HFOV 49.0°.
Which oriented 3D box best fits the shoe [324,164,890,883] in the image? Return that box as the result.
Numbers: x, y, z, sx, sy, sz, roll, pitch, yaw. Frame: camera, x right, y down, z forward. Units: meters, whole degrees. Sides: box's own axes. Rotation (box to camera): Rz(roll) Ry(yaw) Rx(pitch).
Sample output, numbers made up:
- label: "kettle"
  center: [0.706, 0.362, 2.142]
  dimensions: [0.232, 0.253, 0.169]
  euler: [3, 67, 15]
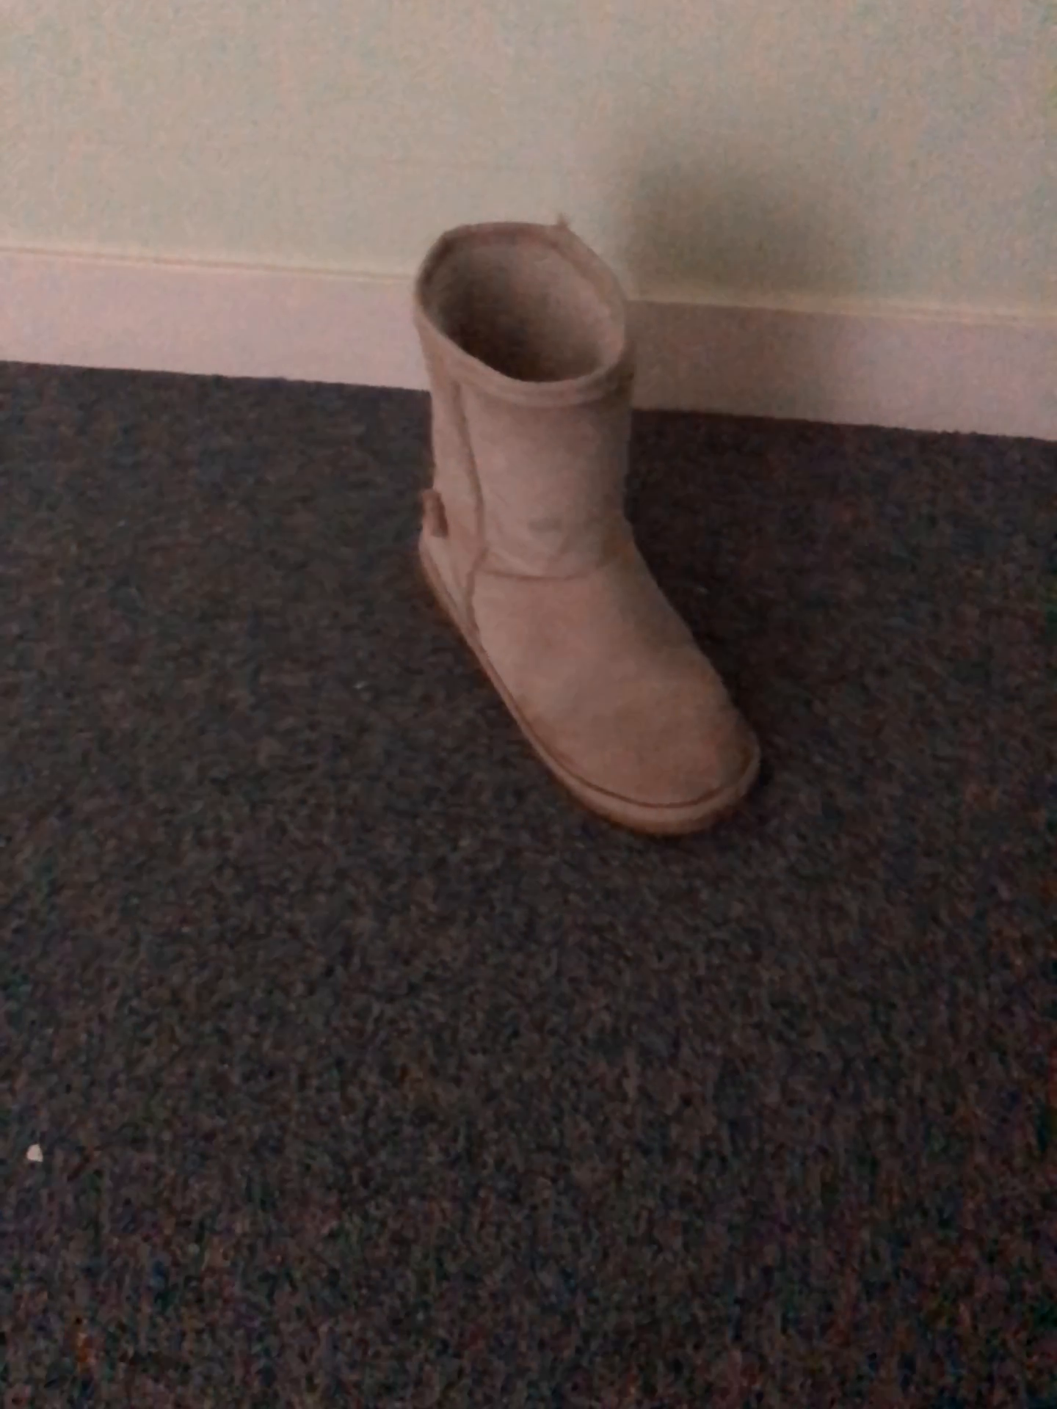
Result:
- label: "shoe"
  center: [0.023, -0.091, 0.584]
  dimensions: [0.120, 0.209, 0.271]
  euler: [-25, 58, -15]
